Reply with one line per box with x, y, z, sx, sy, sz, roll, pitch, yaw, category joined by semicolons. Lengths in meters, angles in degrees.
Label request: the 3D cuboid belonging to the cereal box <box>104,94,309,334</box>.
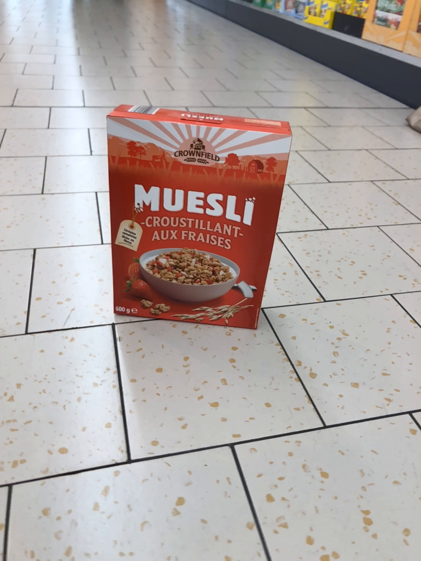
-0.011;-0.070;0.543;0.200;0.248;0.070;7;32;3;cereal box
